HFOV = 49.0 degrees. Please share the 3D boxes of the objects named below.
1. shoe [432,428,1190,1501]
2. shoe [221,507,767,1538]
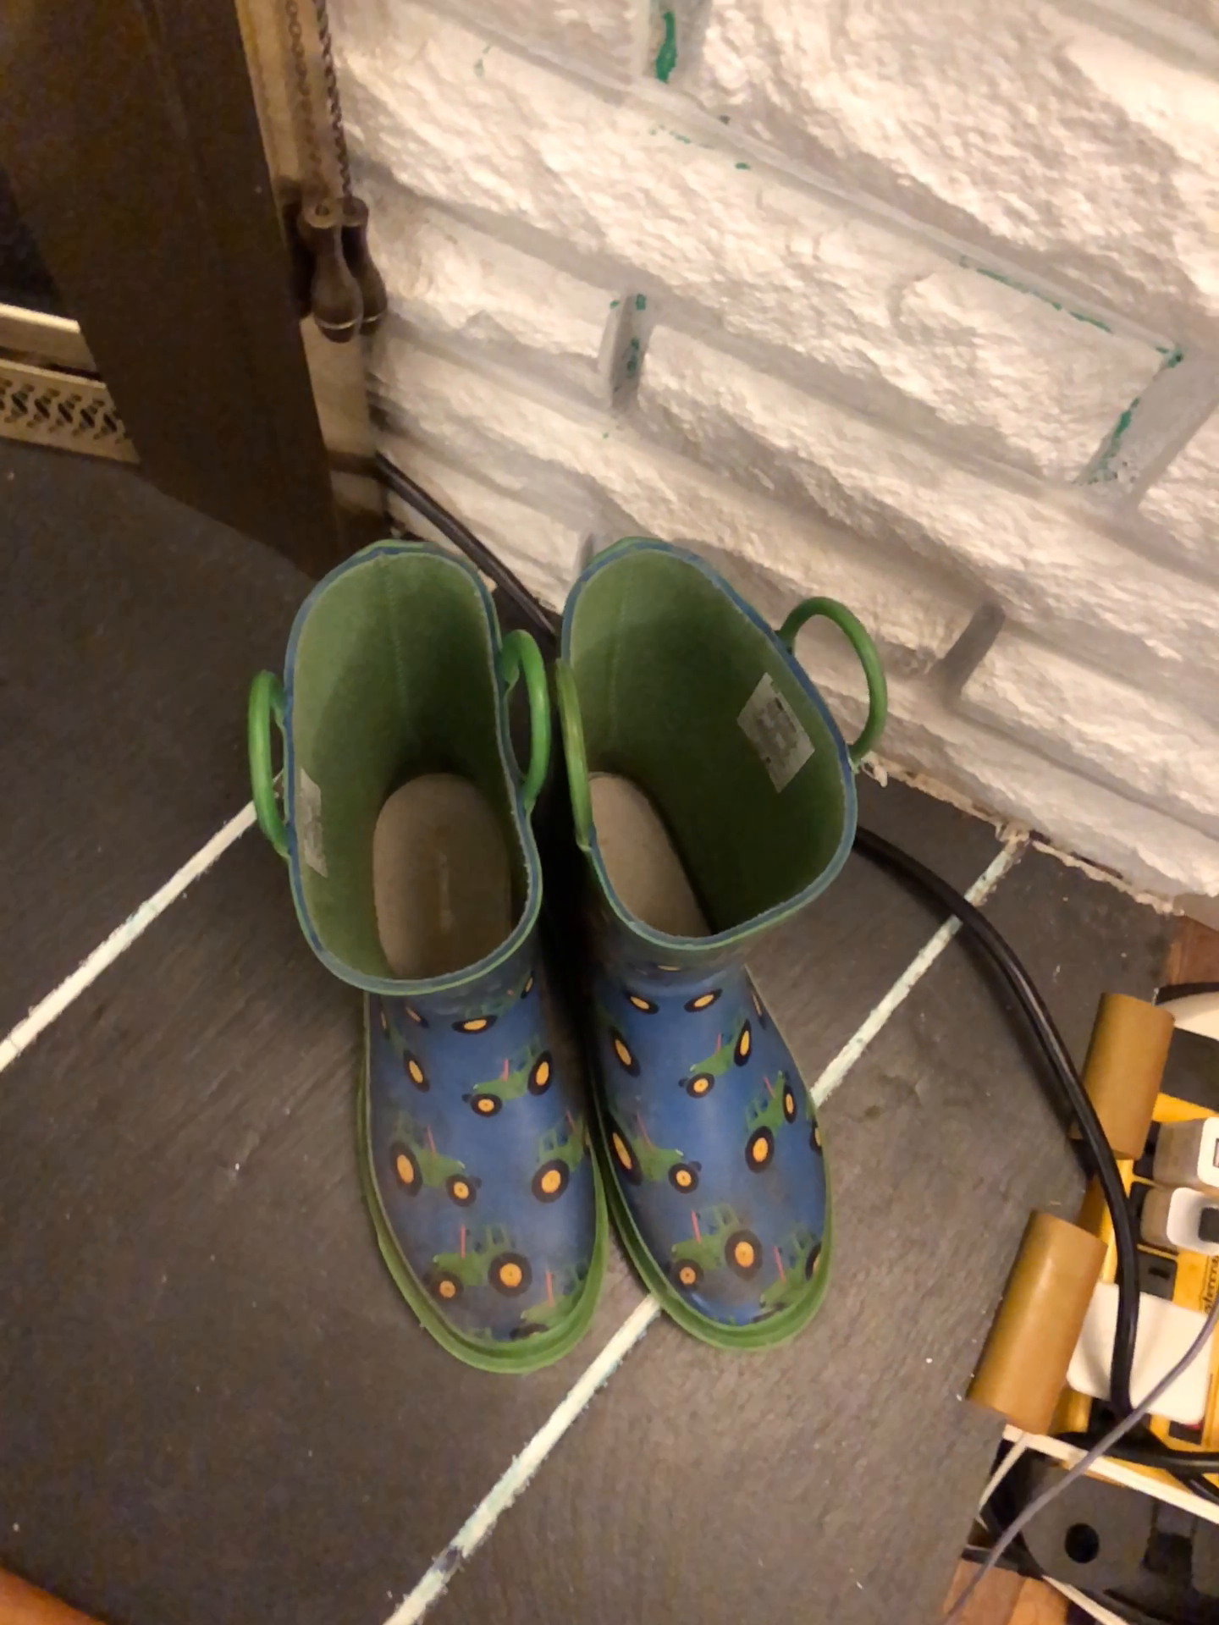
[{"bbox_3d":[0.032,0.054,0.430,0.100,0.230,0.240,-18,76,-10],"label":"shoe"},{"bbox_3d":[-0.043,0.069,0.428,0.100,0.240,0.230,-7,74,-7],"label":"shoe"}]
